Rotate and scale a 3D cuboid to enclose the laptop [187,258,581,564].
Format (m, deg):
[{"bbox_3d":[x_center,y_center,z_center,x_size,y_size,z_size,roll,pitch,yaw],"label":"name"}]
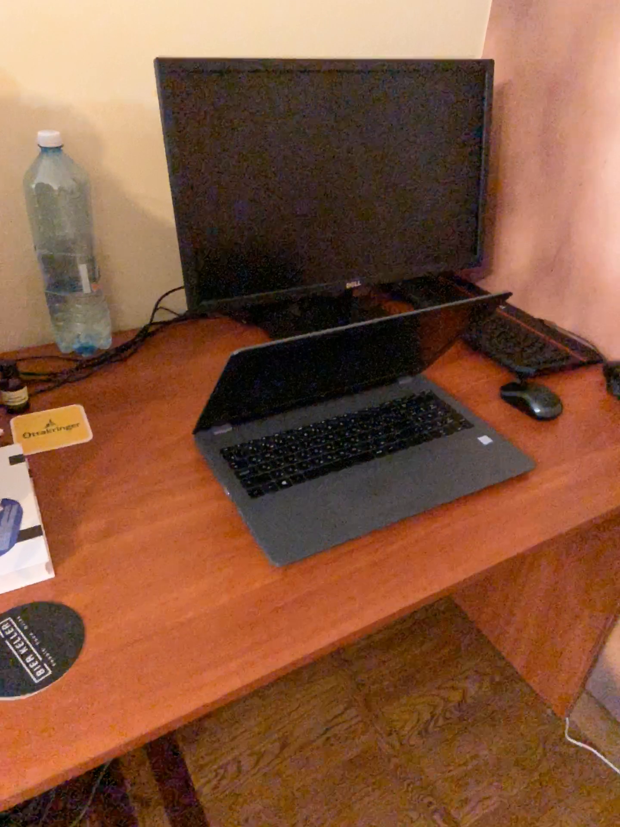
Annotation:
[{"bbox_3d":[0.078,-0.031,0.782,0.386,0.193,0.246,-15,38,-25],"label":"laptop"}]
